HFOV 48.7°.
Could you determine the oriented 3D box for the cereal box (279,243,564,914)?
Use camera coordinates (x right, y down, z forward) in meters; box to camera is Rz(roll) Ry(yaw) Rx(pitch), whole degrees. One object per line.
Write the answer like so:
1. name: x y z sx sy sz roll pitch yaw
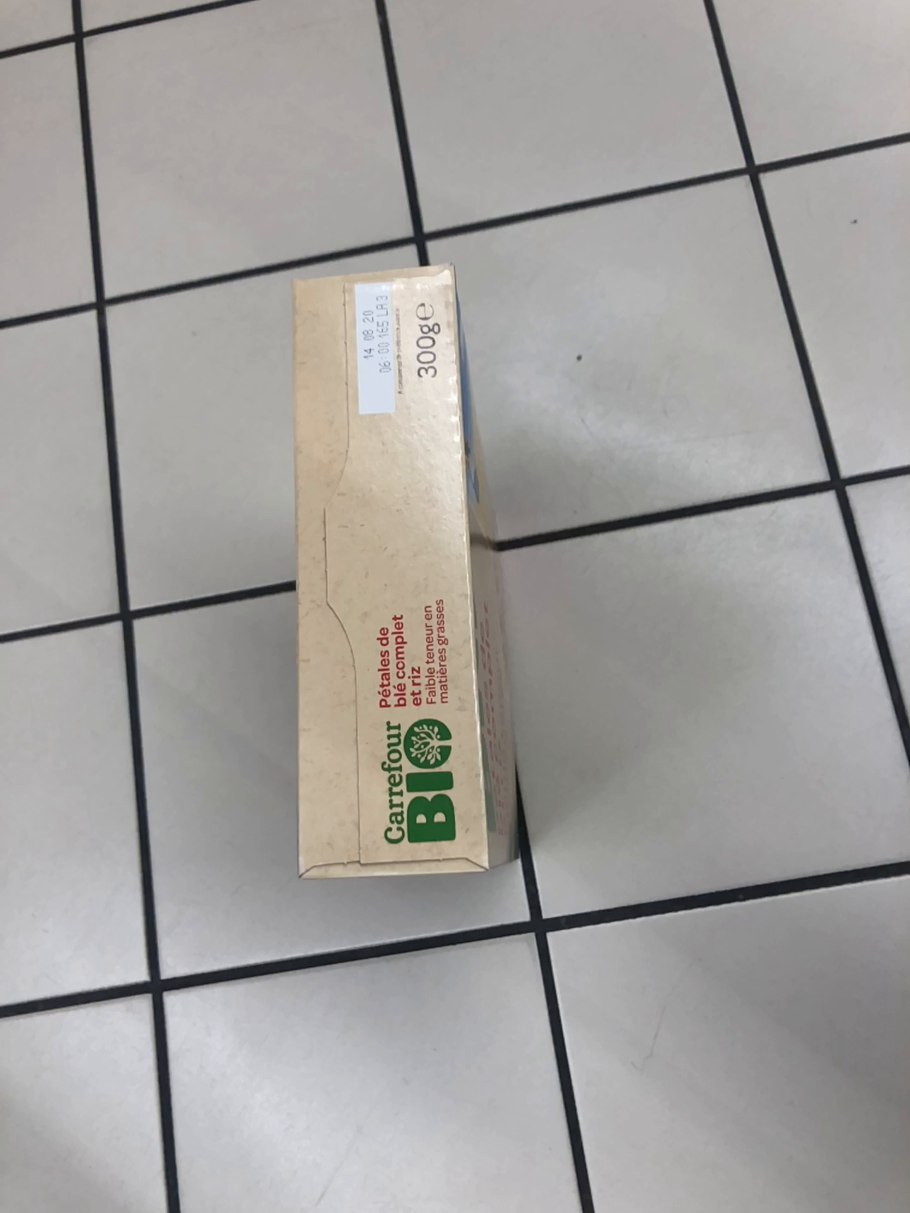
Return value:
1. cereal box: -0.002 0.012 0.428 0.080 0.240 0.210 -4 76 6
